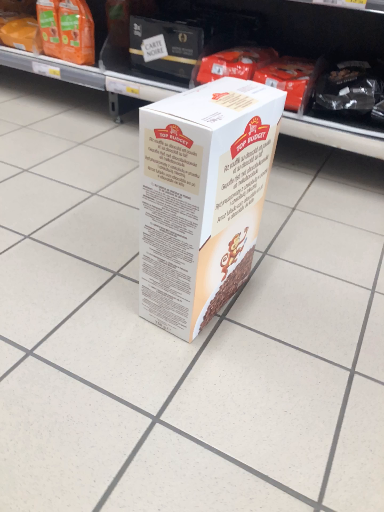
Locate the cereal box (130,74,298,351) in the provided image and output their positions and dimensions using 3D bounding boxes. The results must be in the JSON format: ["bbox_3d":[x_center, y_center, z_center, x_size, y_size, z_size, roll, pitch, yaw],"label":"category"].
[{"bbox_3d":[0.025,-0.063,0.603,0.110,0.318,0.211,24,40,25],"label":"cereal box"}]
